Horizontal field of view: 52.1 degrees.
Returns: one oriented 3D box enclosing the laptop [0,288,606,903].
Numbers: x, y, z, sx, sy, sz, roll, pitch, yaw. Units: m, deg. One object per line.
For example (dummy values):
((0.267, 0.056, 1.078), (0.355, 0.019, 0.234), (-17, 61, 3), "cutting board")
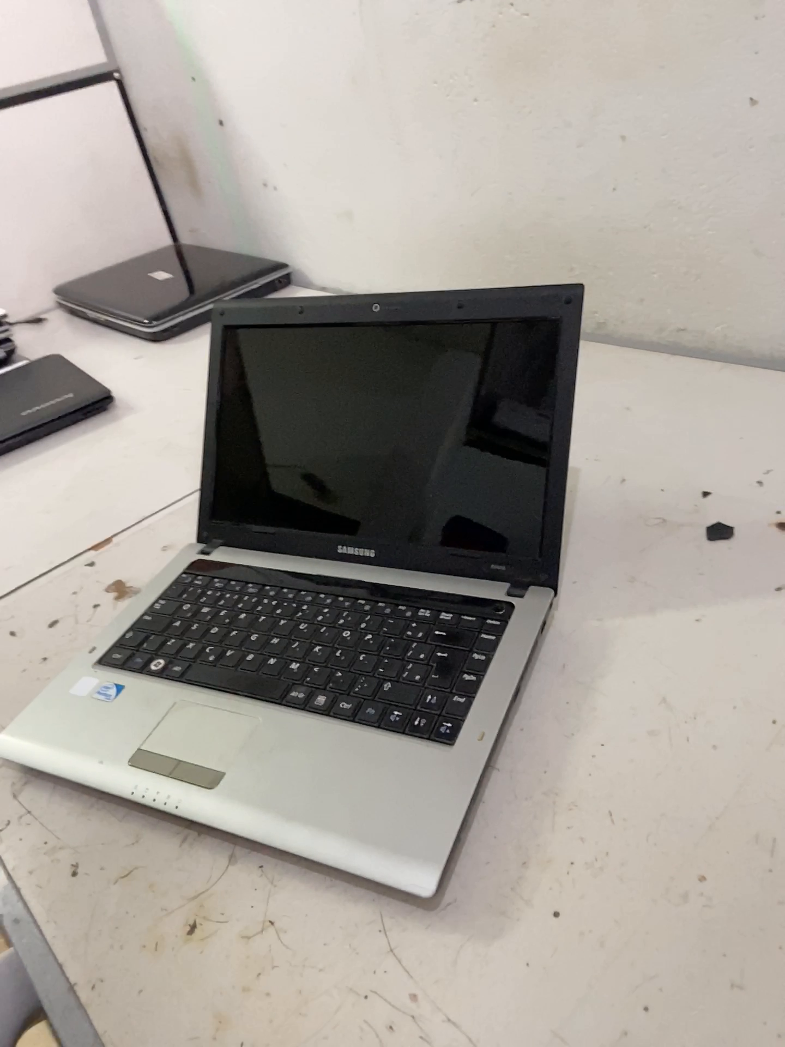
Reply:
((-0.070, -0.004, 0.548), (0.335, 0.172, 0.363), (6, 38, 27), "laptop")
